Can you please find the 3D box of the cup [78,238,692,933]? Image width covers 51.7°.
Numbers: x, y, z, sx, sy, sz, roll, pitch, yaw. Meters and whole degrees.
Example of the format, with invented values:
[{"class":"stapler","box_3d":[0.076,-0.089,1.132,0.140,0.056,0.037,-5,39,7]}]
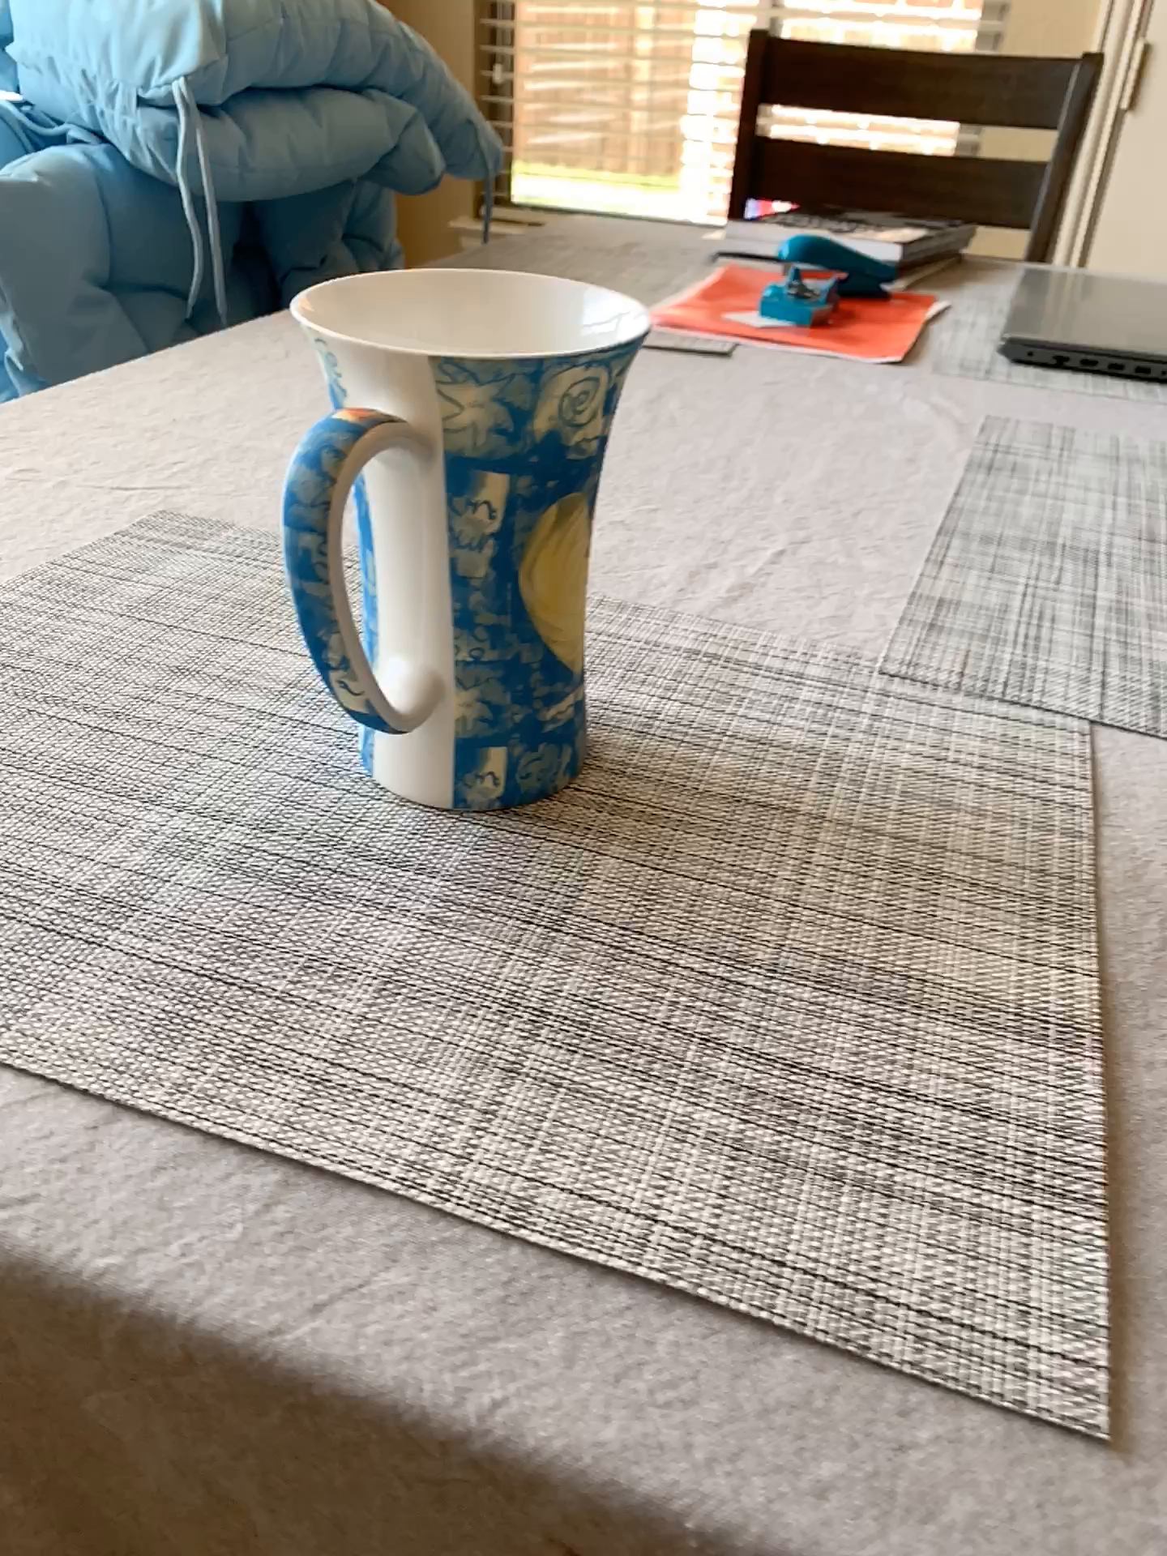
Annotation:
[{"class":"cup","box_3d":[-0.048,-0.069,0.367,0.099,0.148,0.153,16,34,18]}]
